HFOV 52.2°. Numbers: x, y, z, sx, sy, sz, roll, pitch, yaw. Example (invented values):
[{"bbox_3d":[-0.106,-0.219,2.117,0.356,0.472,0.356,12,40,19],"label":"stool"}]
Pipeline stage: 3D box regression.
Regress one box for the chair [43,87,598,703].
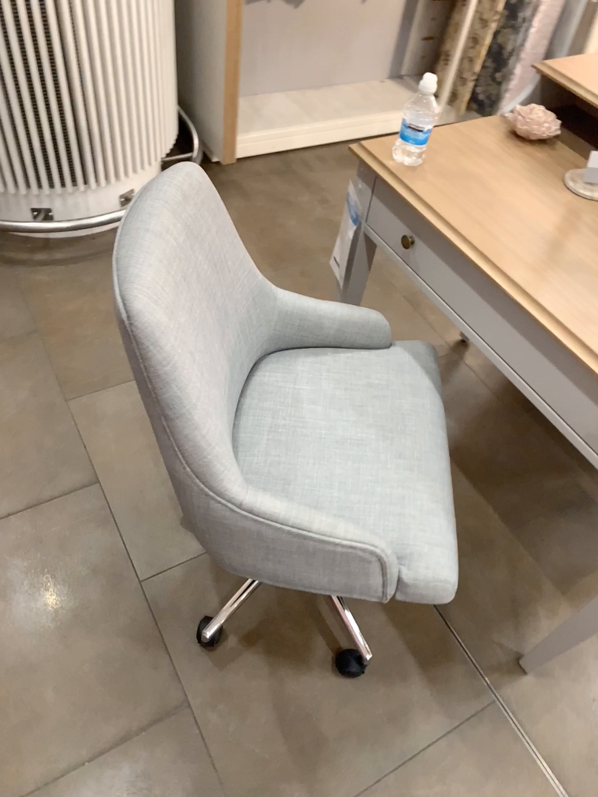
[{"bbox_3d":[0.051,0.062,1.137,0.635,0.892,0.629,9,49,-1],"label":"chair"}]
